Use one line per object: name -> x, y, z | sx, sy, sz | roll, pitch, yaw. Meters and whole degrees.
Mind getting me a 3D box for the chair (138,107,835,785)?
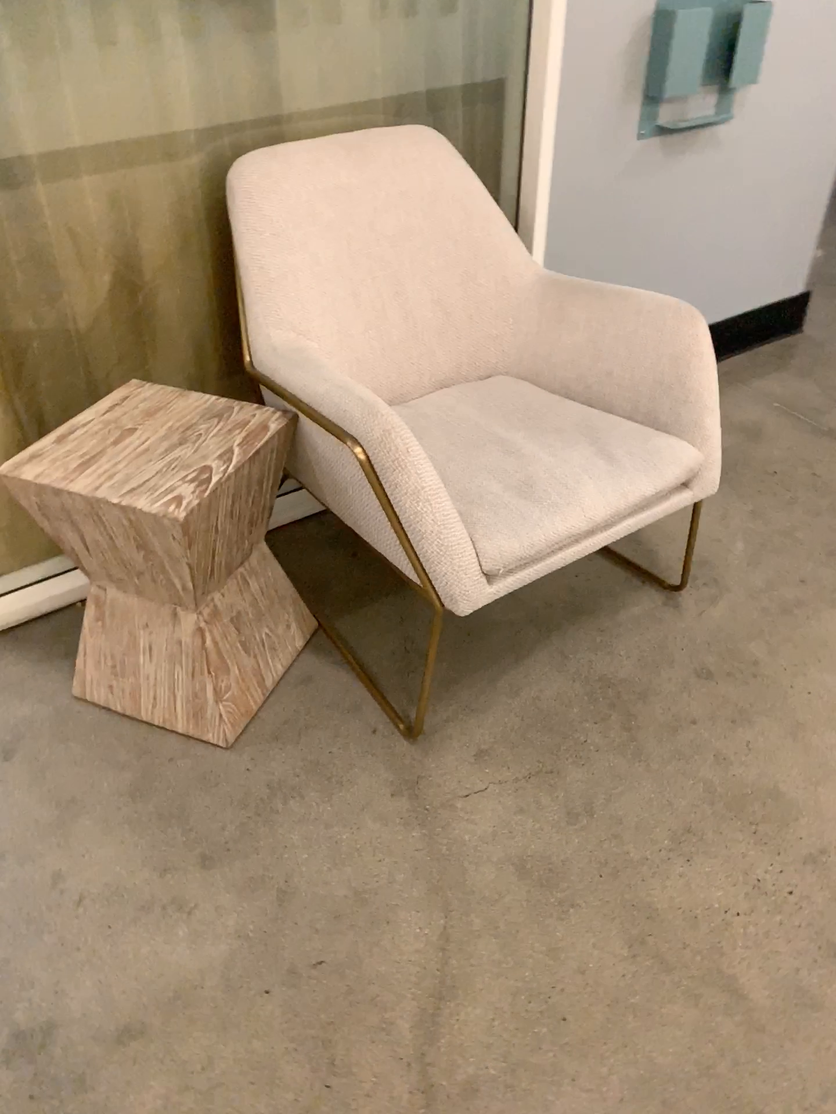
chair -> 0.070, -0.298, 1.627 | 0.751, 0.815, 0.884 | -24, 43, -28
